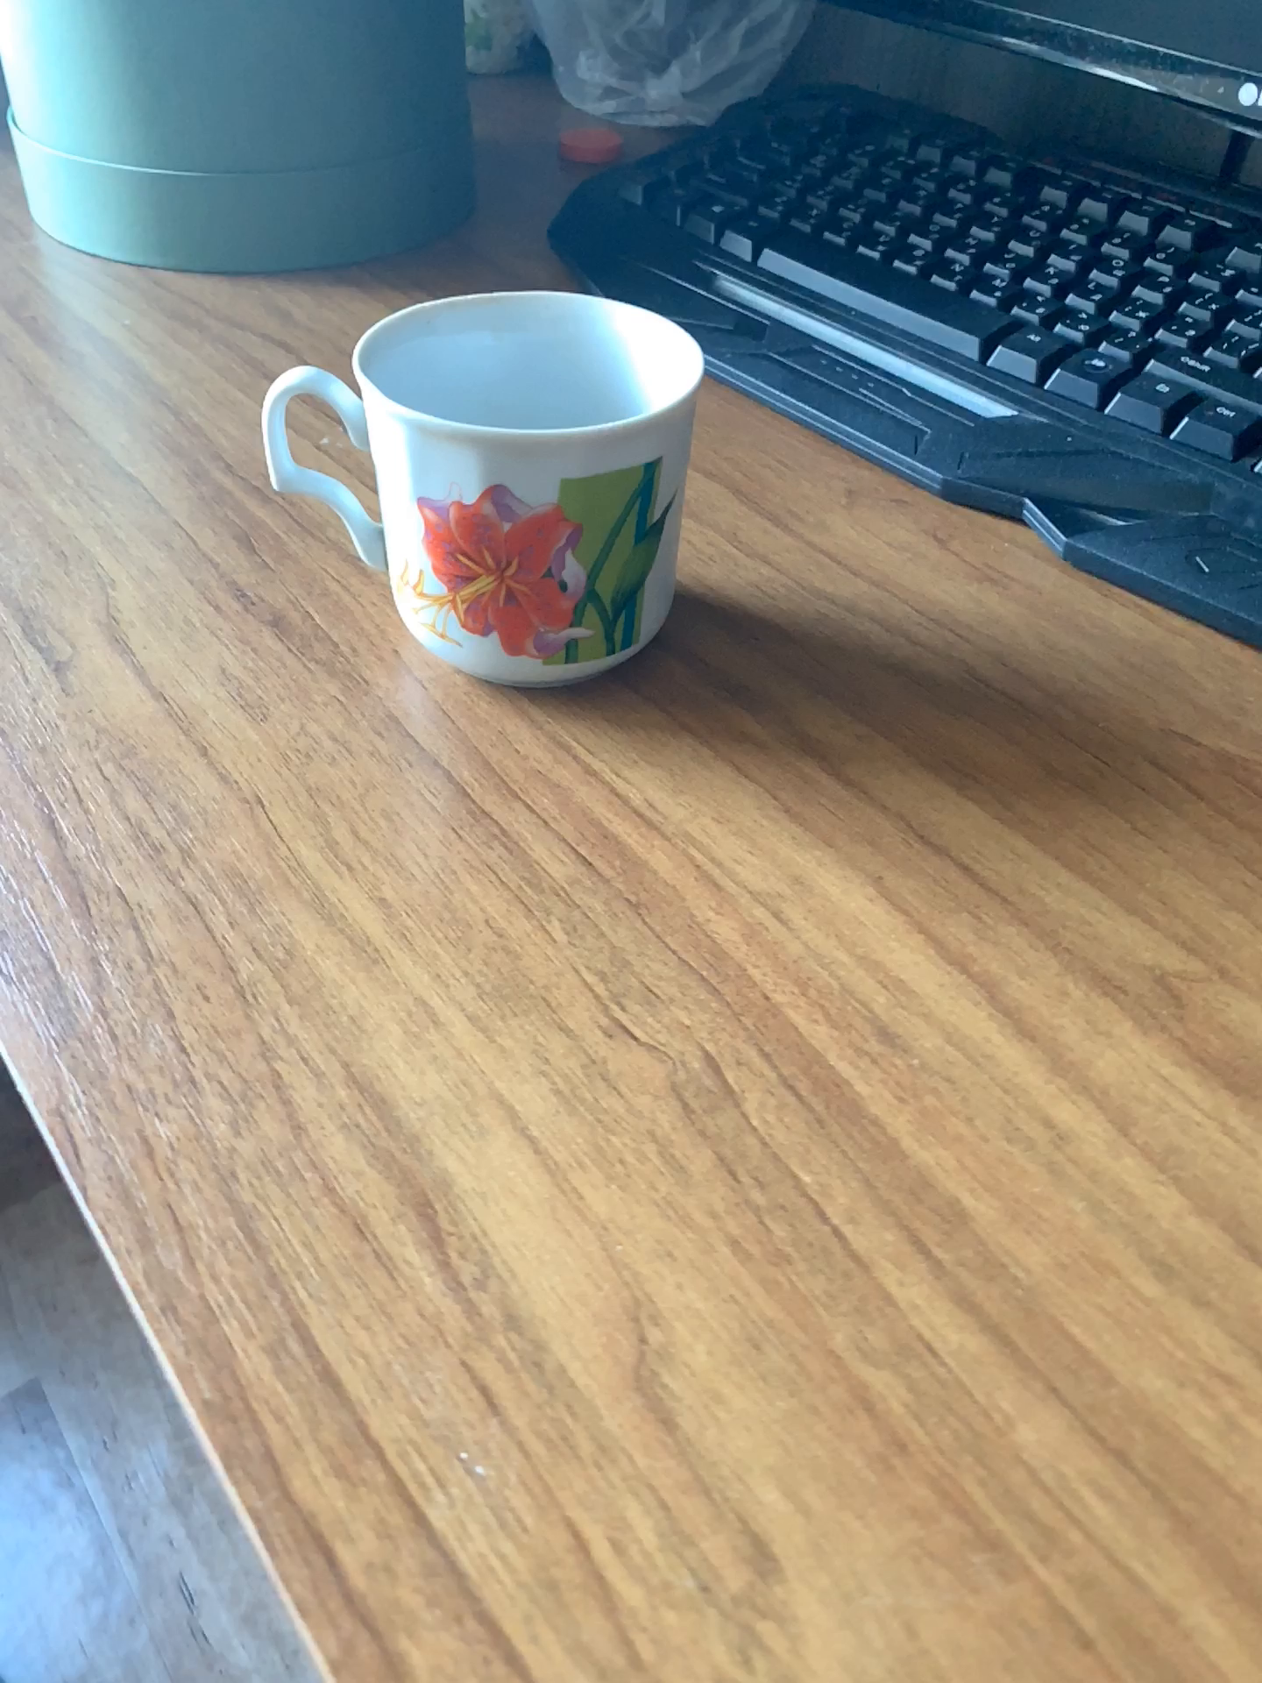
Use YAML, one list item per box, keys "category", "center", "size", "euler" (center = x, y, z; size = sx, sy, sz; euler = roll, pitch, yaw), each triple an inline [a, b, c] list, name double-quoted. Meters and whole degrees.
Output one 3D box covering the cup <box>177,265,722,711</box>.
- category: "cup"
  center: [-0.040, -0.085, 0.317]
  size: [0.110, 0.080, 0.070]
  euler: [0, 41, -4]
